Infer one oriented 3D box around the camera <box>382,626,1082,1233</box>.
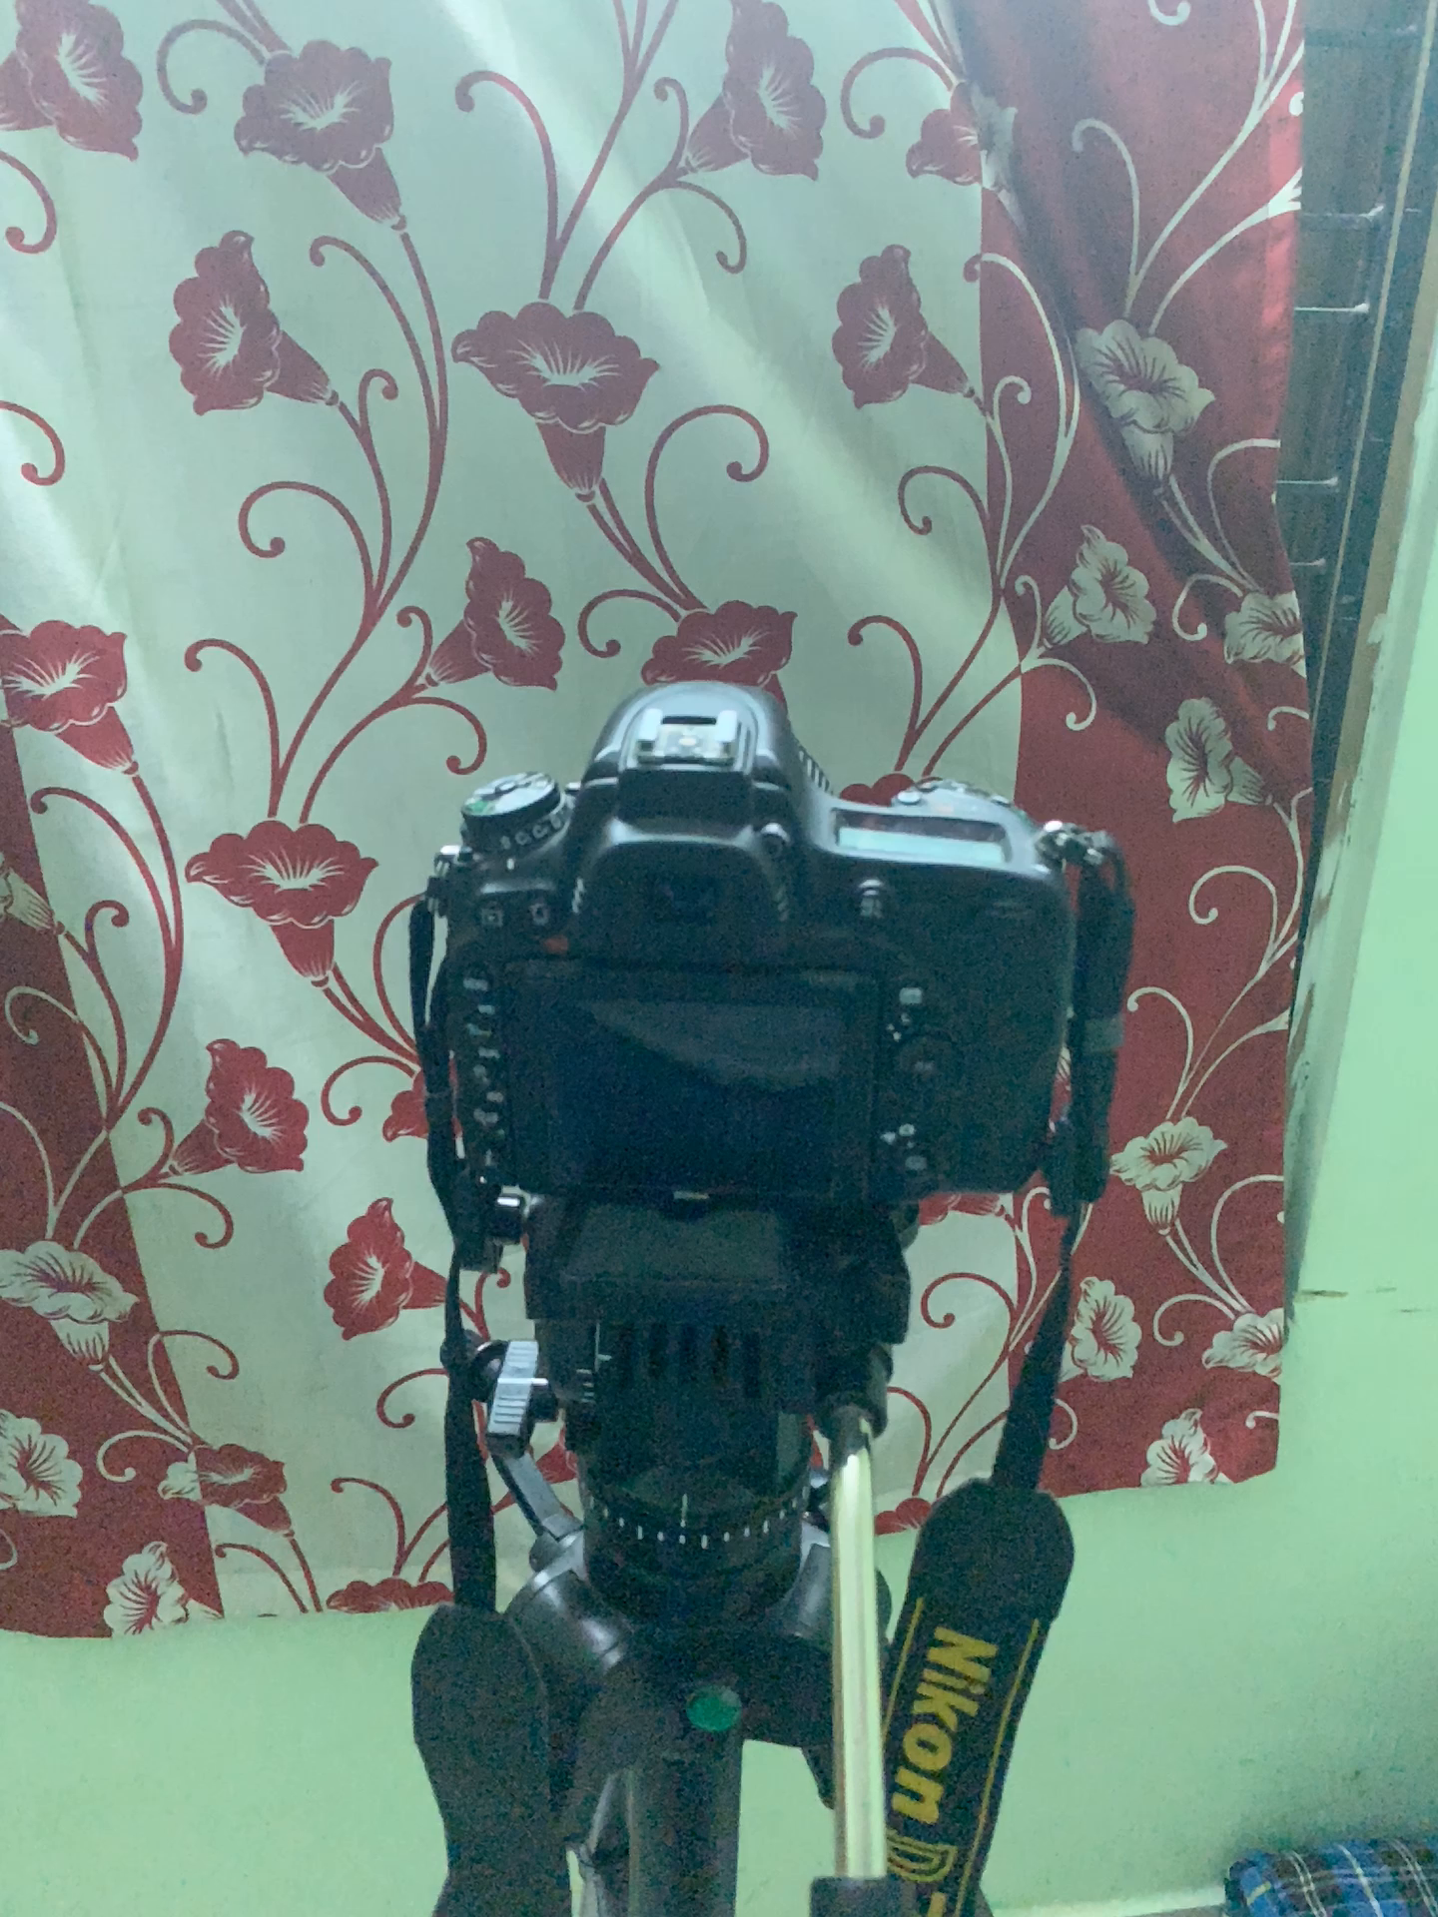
[{"bbox_3d":[0.004,-0.016,0.371,0.139,0.112,0.130,2,21,2],"label":"camera"}]
